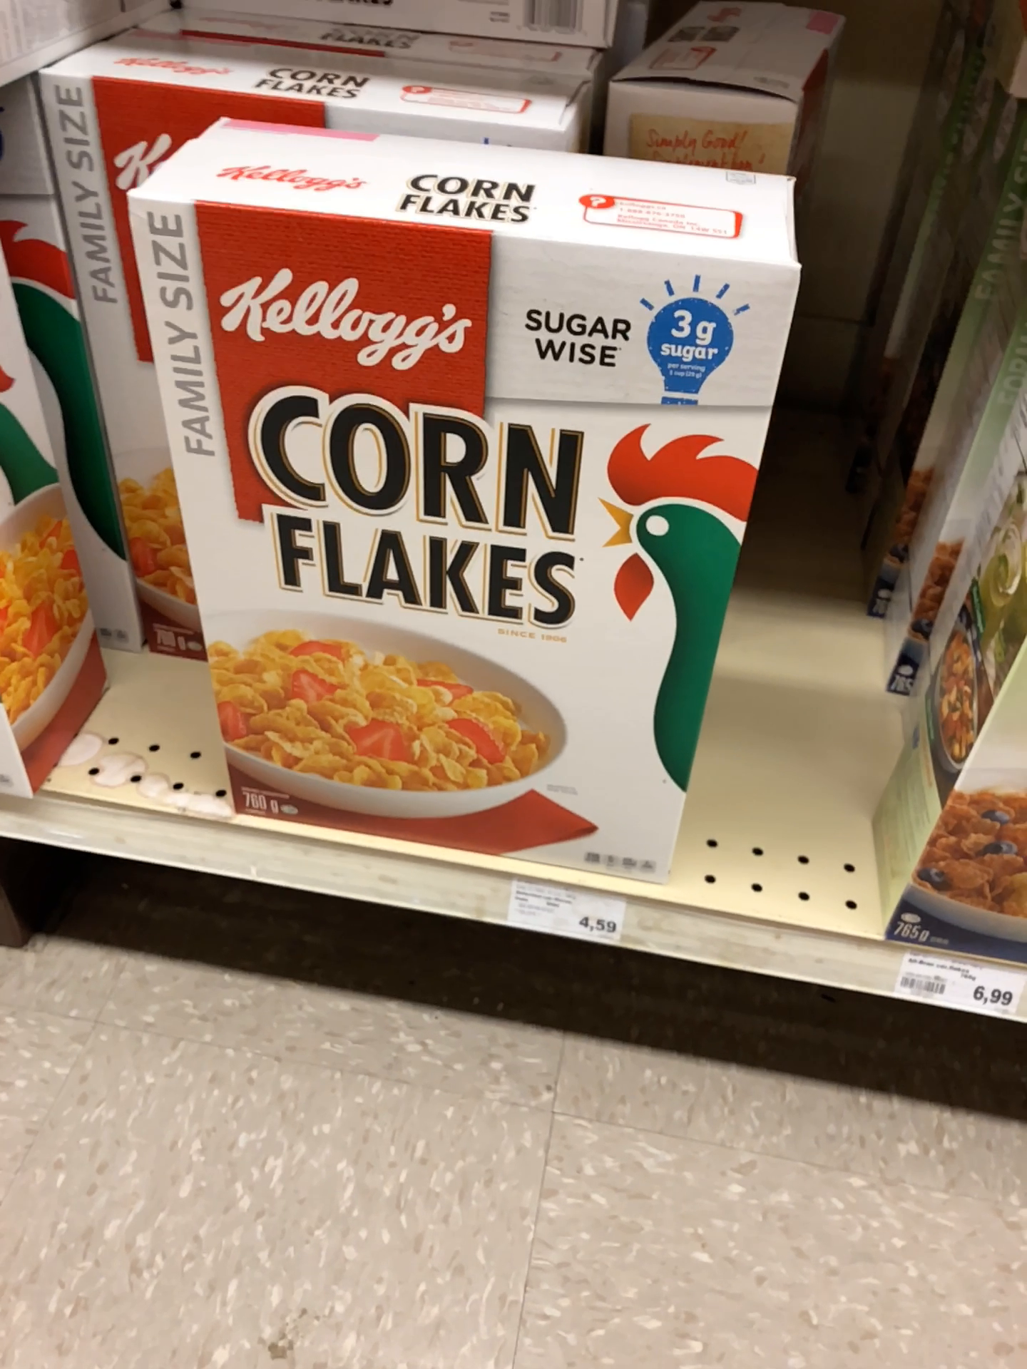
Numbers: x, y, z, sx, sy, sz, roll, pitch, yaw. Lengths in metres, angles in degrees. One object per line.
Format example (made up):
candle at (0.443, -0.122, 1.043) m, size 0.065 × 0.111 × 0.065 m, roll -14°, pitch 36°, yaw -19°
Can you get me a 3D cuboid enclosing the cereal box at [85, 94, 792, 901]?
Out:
cereal box at (-0.035, -0.069, 0.590) m, size 0.270 × 0.387 × 0.101 m, roll 8°, pitch 40°, yaw 4°
